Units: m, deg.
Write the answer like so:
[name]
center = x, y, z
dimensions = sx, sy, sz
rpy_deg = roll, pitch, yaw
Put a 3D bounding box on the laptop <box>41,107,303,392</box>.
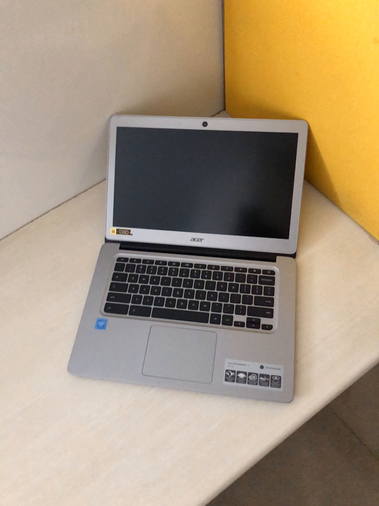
[laptop]
center = 0.001, -0.027, 0.653
dimensions = 0.319, 0.124, 0.410
rpy_deg = 5, 63, 9
